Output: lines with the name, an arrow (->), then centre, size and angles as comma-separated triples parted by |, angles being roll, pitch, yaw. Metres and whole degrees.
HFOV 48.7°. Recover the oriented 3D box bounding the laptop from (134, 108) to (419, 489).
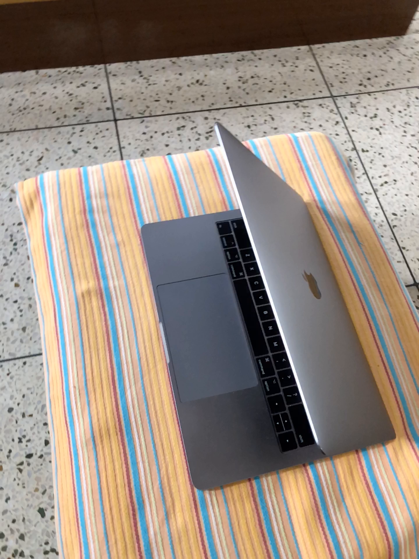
laptop -> 0.057, 0.016, 0.446 | 0.203, 0.160, 0.295 | -10, 65, -9
